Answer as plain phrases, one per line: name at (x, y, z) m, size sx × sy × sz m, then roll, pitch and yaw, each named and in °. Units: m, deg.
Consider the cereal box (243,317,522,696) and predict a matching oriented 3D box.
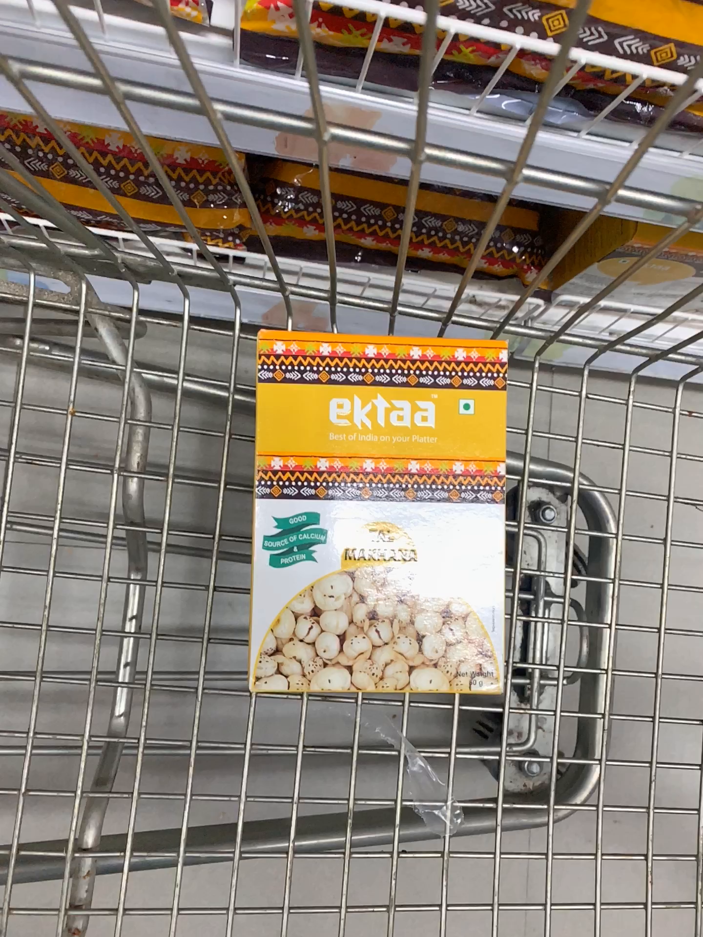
cereal box at (0.014, 0.020, 0.385) m, size 0.130 × 0.070 × 0.180 m, roll 2°, pitch 90°, yaw -3°
